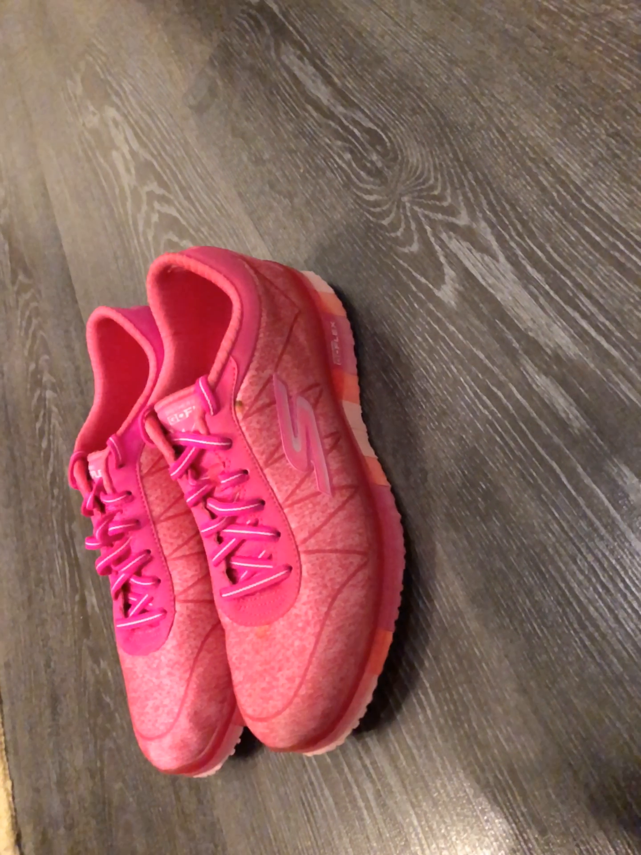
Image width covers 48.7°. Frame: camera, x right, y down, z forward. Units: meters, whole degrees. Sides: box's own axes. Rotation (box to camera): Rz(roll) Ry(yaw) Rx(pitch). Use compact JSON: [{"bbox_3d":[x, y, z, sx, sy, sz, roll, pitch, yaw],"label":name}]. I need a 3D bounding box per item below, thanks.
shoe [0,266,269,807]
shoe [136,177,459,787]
[{"bbox_3d":[-0.099,0.058,0.399,0.100,0.089,0.260,-20,63,38],"label":"shoe"},{"bbox_3d":[-0.023,0.025,0.350,0.100,0.089,0.261,-26,60,36],"label":"shoe"}]
